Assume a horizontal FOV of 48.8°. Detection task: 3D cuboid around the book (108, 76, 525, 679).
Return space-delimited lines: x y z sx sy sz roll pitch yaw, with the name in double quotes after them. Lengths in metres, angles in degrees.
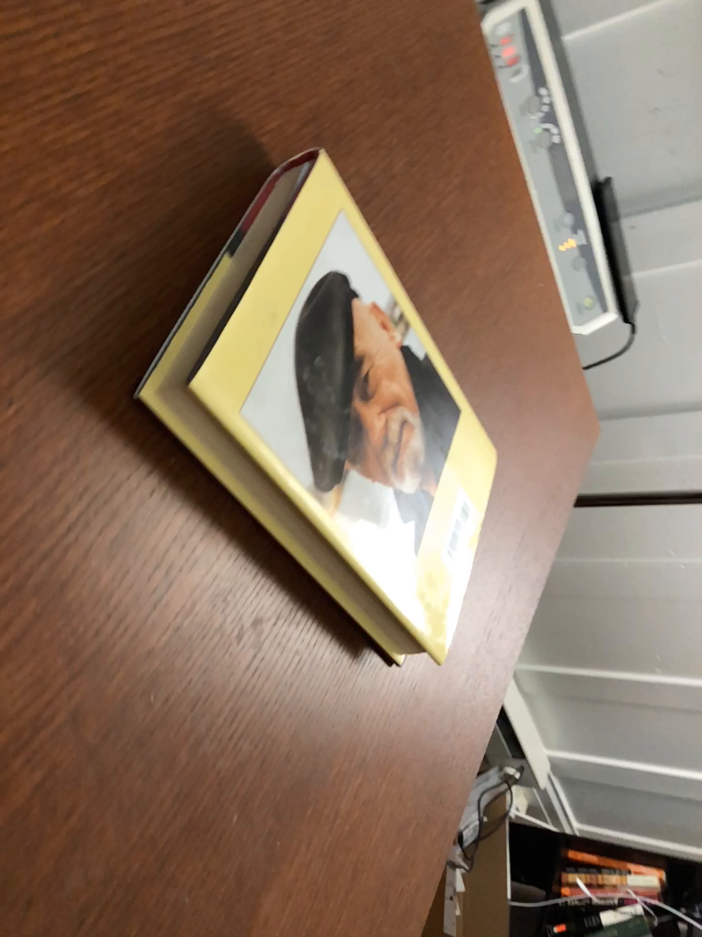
0.014 -0.036 0.406 0.251 0.030 0.191 52 47 -38 "book"
